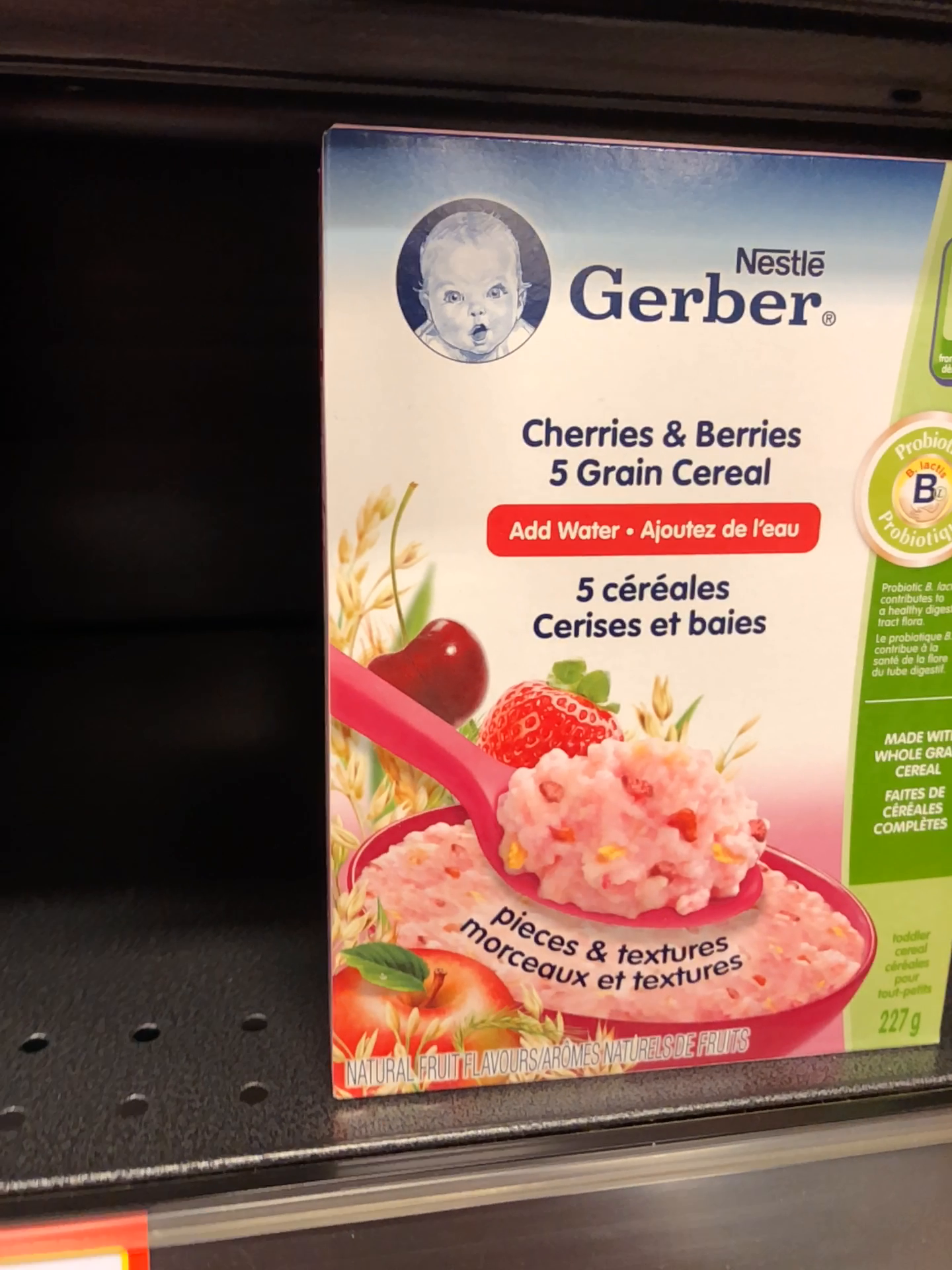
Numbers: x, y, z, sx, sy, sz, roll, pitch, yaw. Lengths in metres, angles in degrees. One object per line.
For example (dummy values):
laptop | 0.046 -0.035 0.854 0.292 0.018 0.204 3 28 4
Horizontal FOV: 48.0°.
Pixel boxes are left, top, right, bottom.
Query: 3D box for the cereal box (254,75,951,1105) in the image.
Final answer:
cereal box | 0.032 -0.004 0.234 0.150 0.199 0.040 -1 14 -9
